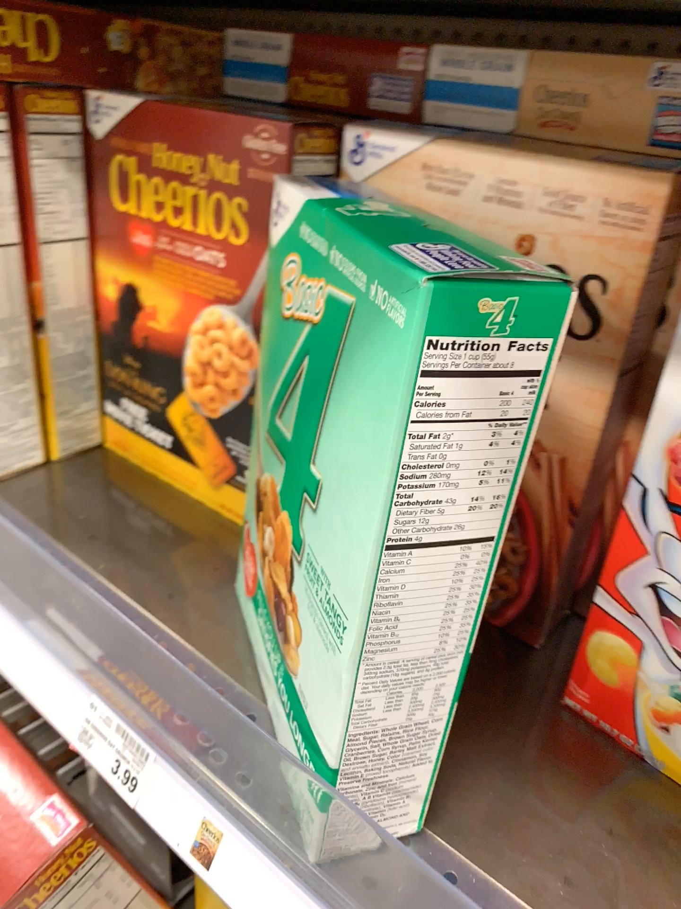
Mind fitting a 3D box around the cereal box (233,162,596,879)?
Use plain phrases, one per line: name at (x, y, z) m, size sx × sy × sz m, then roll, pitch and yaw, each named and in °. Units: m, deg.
cereal box at (0.001, 0.017, 0.334) m, size 0.050 × 0.259 × 0.201 m, roll -1°, pitch 28°, yaw -19°
